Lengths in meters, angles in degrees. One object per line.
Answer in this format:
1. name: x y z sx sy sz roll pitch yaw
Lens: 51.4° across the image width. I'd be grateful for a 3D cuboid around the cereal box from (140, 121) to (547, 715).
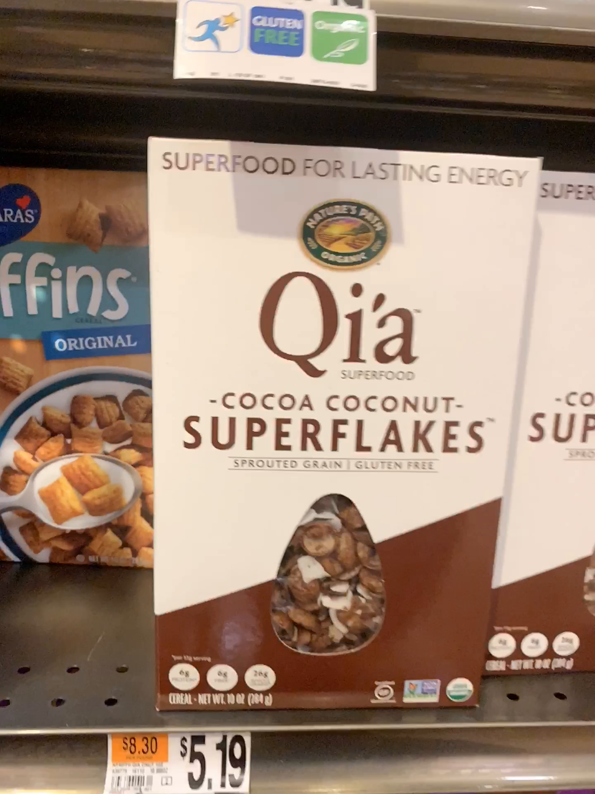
1. cereal box: 0.012 0.017 0.297 0.160 0.259 0.060 2 12 -5
